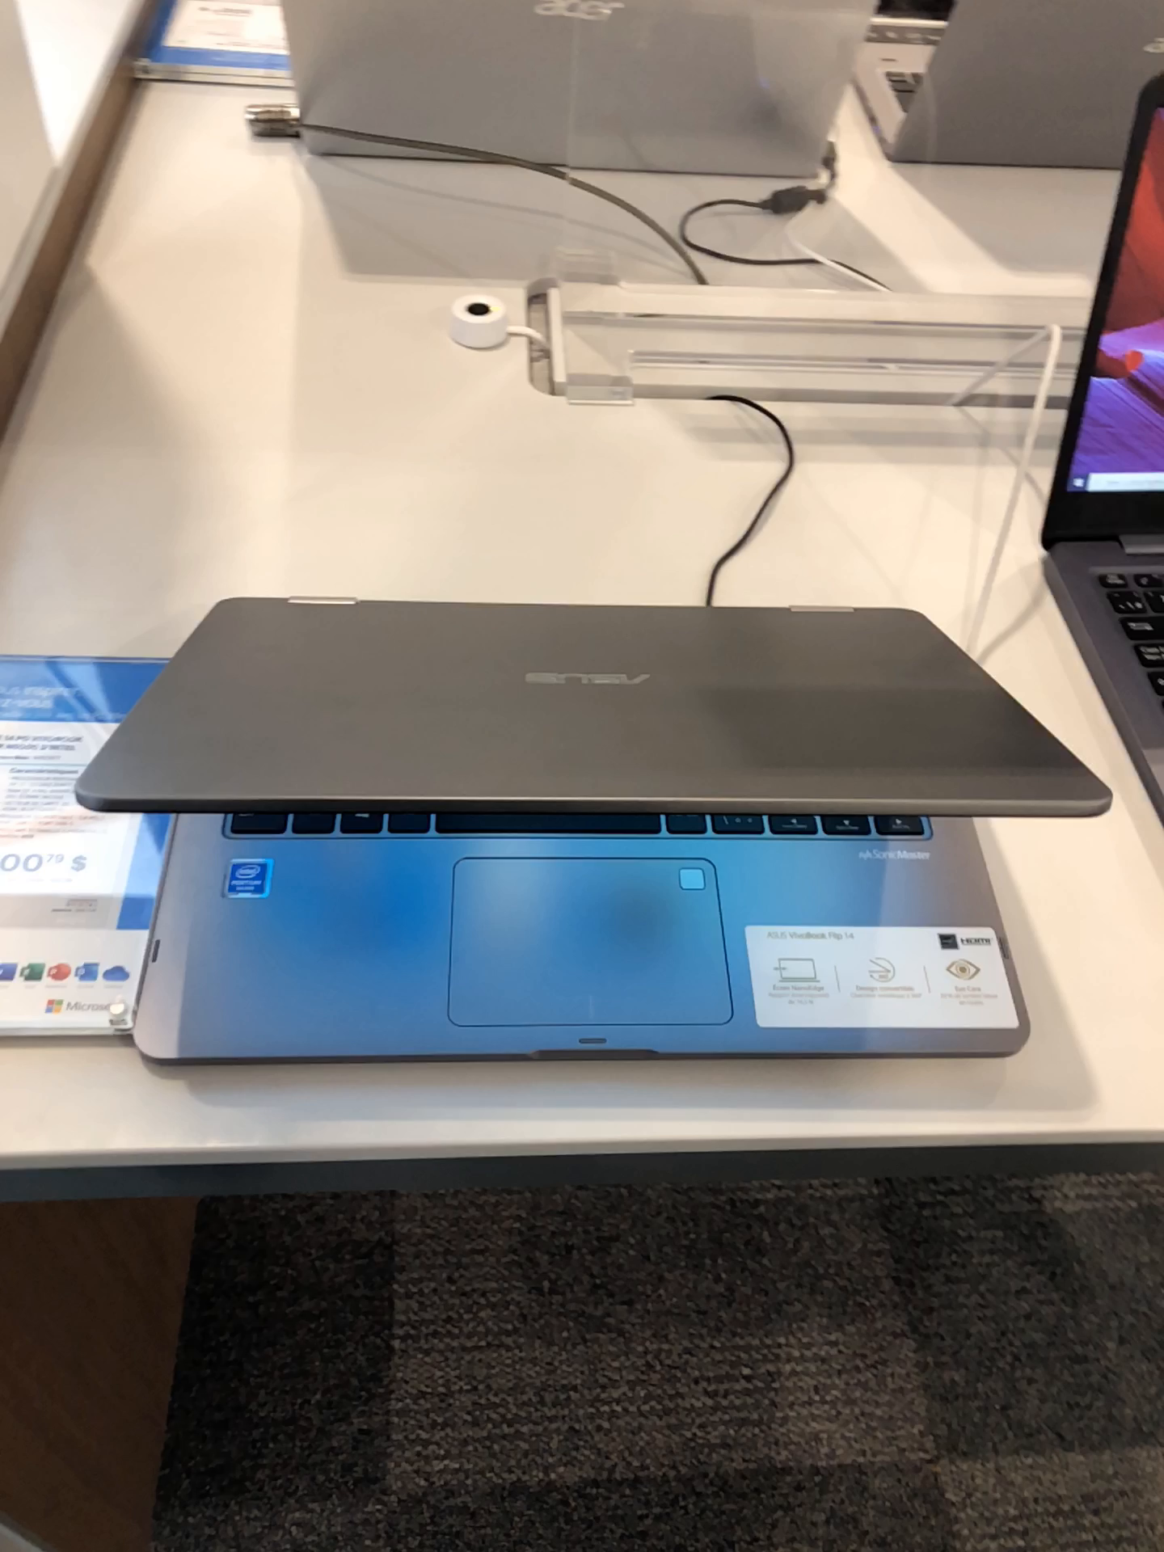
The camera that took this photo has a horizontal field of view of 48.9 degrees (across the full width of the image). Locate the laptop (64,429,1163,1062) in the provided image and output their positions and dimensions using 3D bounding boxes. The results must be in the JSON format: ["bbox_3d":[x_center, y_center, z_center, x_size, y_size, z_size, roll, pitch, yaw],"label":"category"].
[{"bbox_3d":[0.007,-0.017,0.478,0.321,0.105,0.215,0,51,-3],"label":"laptop"}]
